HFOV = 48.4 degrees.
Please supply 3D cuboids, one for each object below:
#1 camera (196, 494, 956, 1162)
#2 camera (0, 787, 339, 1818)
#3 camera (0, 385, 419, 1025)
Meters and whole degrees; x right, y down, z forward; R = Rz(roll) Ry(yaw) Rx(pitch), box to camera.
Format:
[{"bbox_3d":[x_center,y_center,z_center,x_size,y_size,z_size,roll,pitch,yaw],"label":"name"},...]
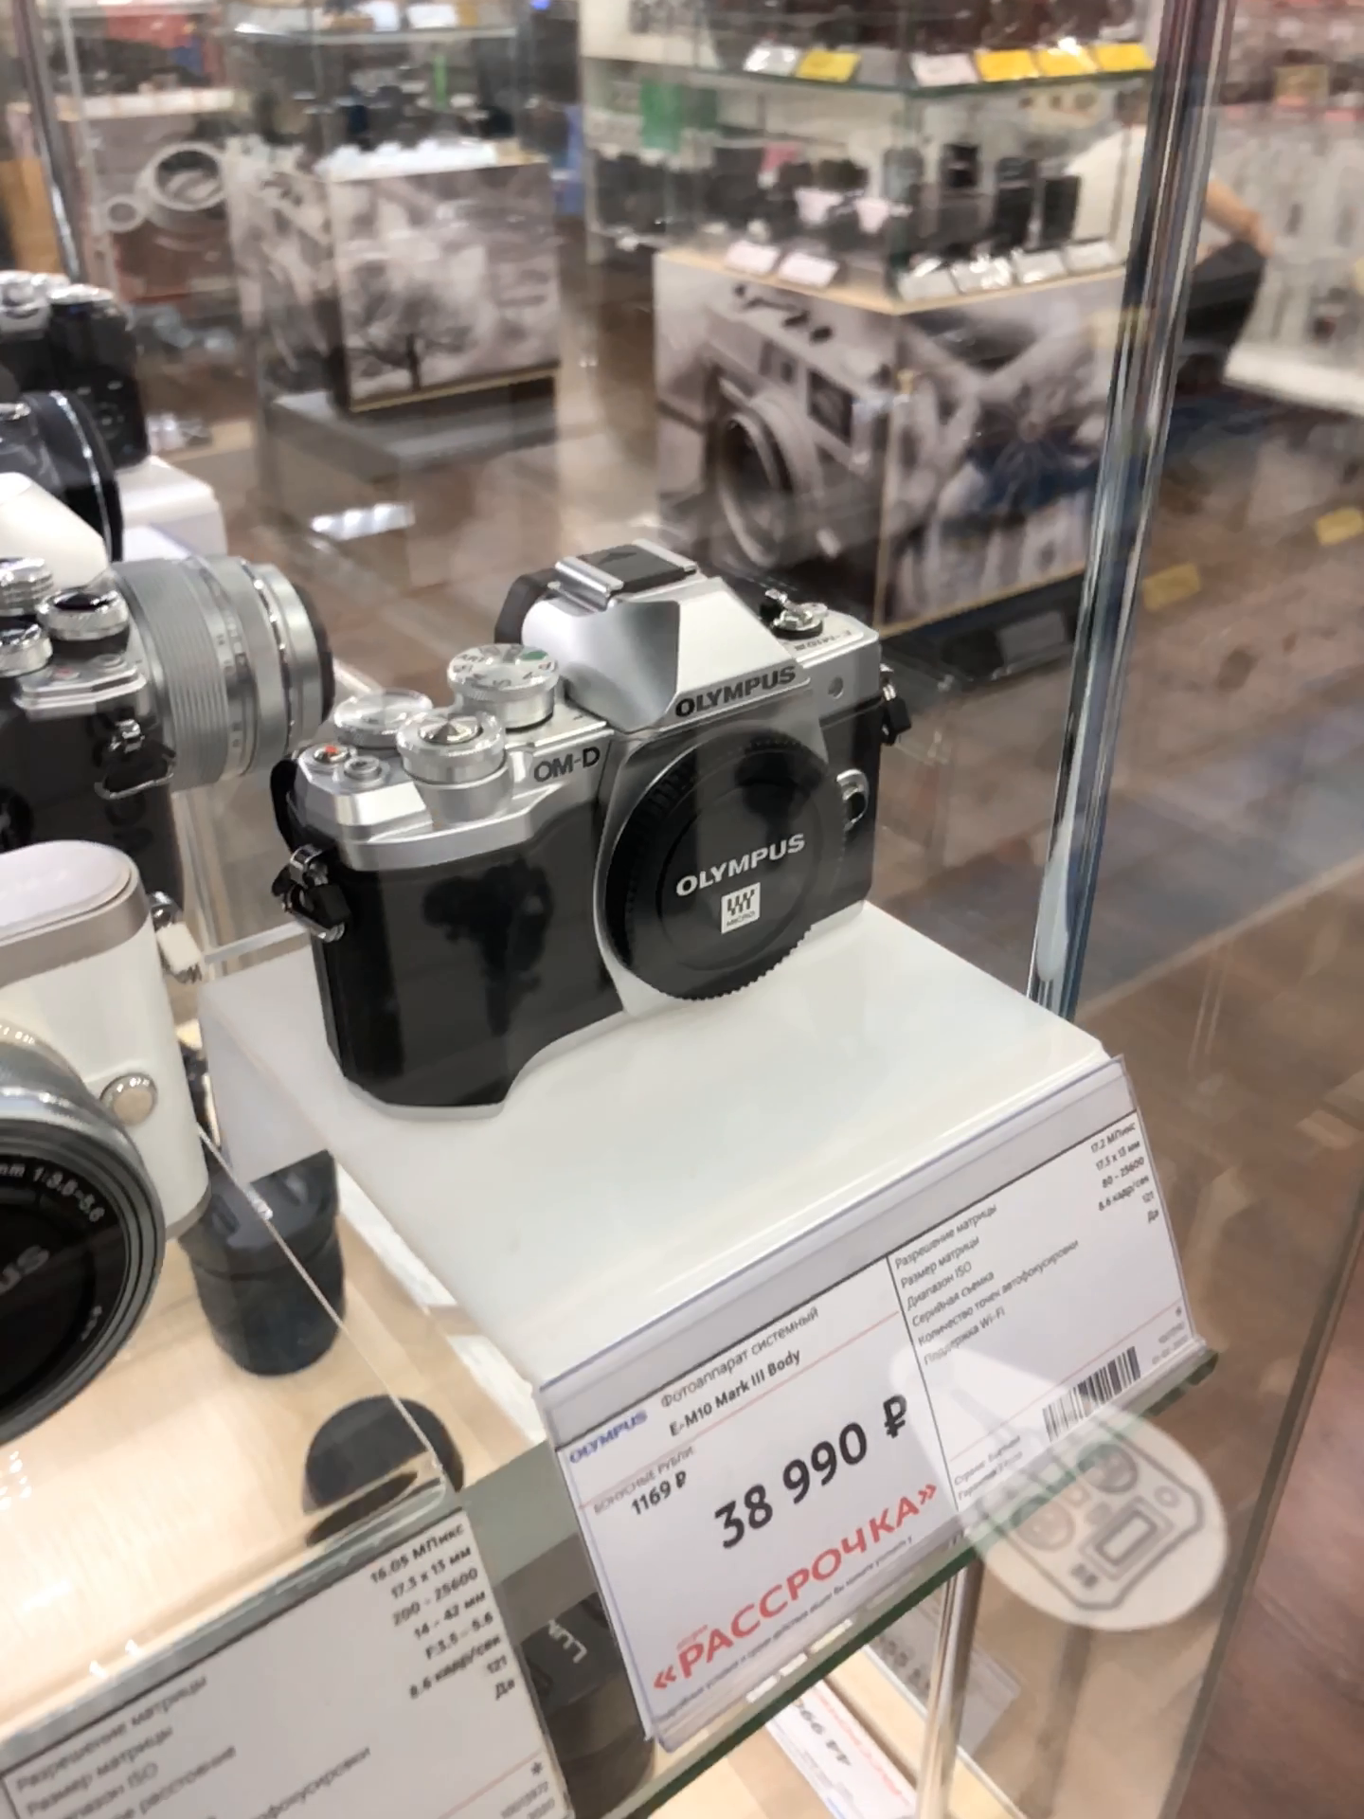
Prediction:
[{"bbox_3d":[-0.016,-0.023,0.293,0.122,0.077,0.065,-23,38,-31],"label":"camera"},{"bbox_3d":[-0.124,0.043,0.214,0.125,0.068,0.068,-22,38,-30],"label":"camera"},{"bbox_3d":[-0.145,-0.058,0.353,0.101,0.084,0.137,-25,40,-34],"label":"camera"}]
